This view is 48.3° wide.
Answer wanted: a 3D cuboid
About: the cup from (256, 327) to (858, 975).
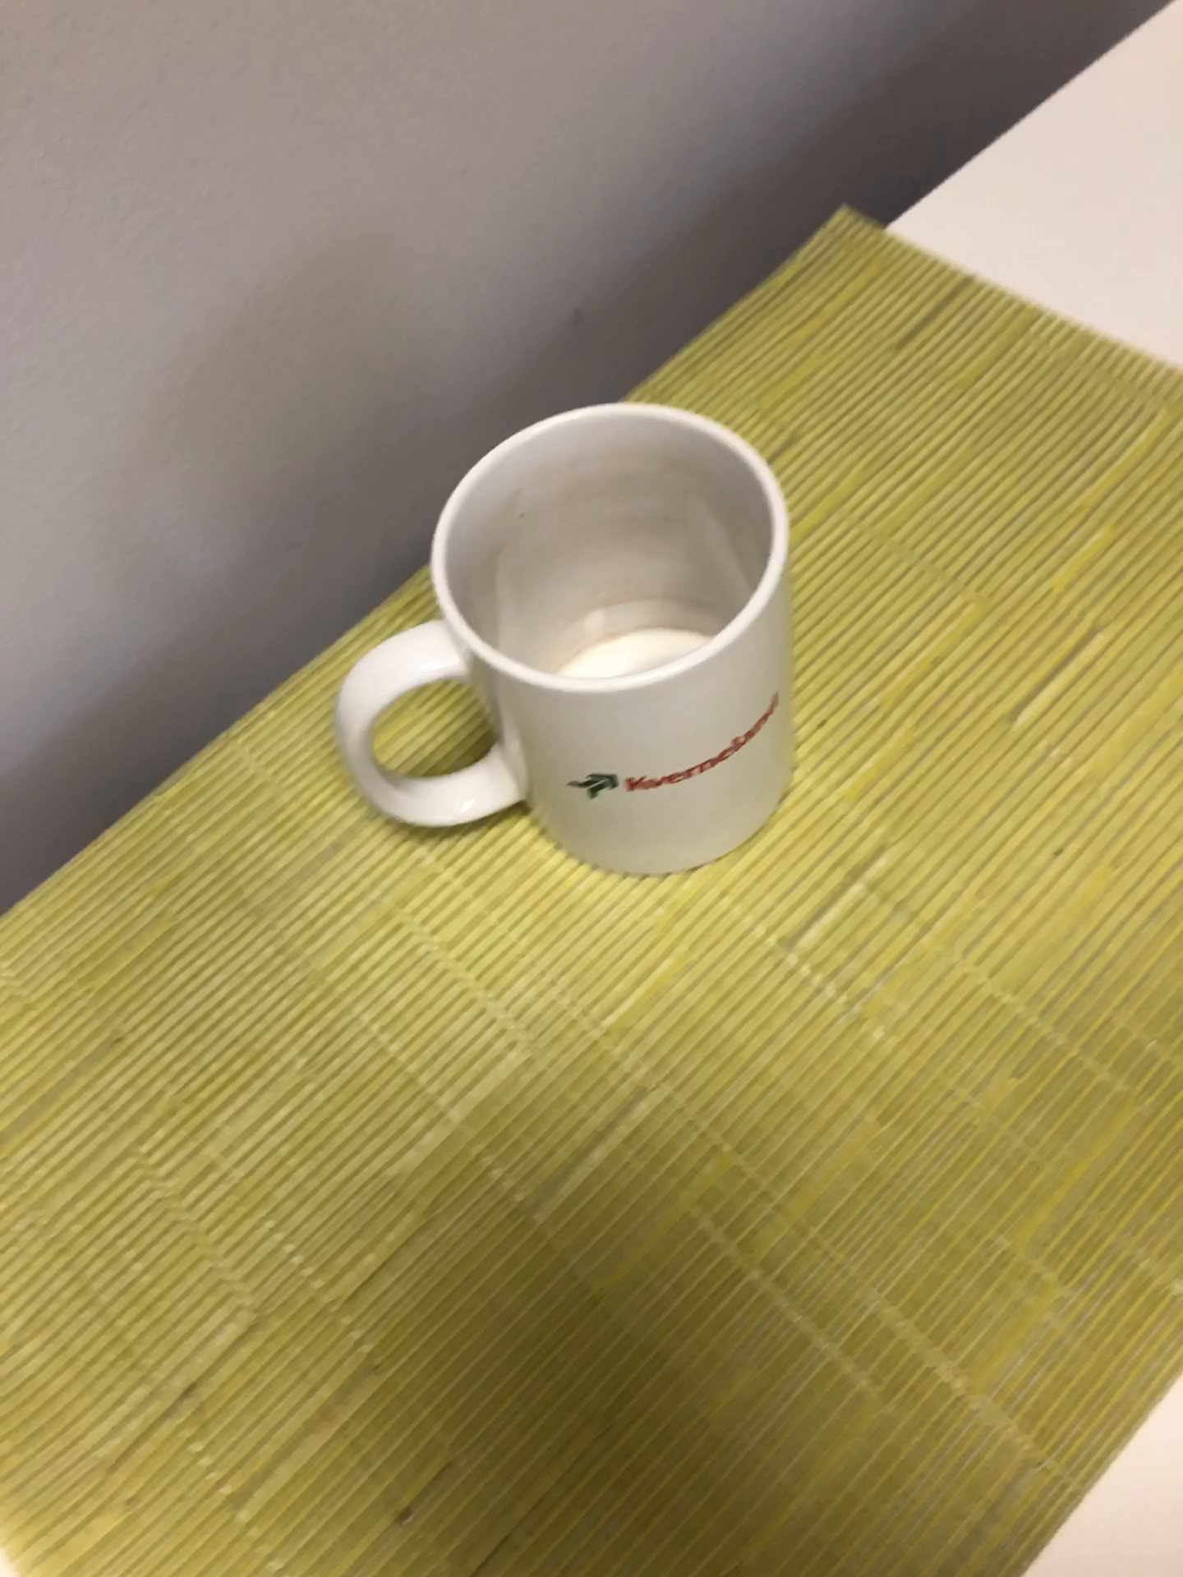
[{"bbox_3d":[-0.004,-0.032,0.342,0.114,0.100,0.090,-24,58,-4],"label":"cup"}]
